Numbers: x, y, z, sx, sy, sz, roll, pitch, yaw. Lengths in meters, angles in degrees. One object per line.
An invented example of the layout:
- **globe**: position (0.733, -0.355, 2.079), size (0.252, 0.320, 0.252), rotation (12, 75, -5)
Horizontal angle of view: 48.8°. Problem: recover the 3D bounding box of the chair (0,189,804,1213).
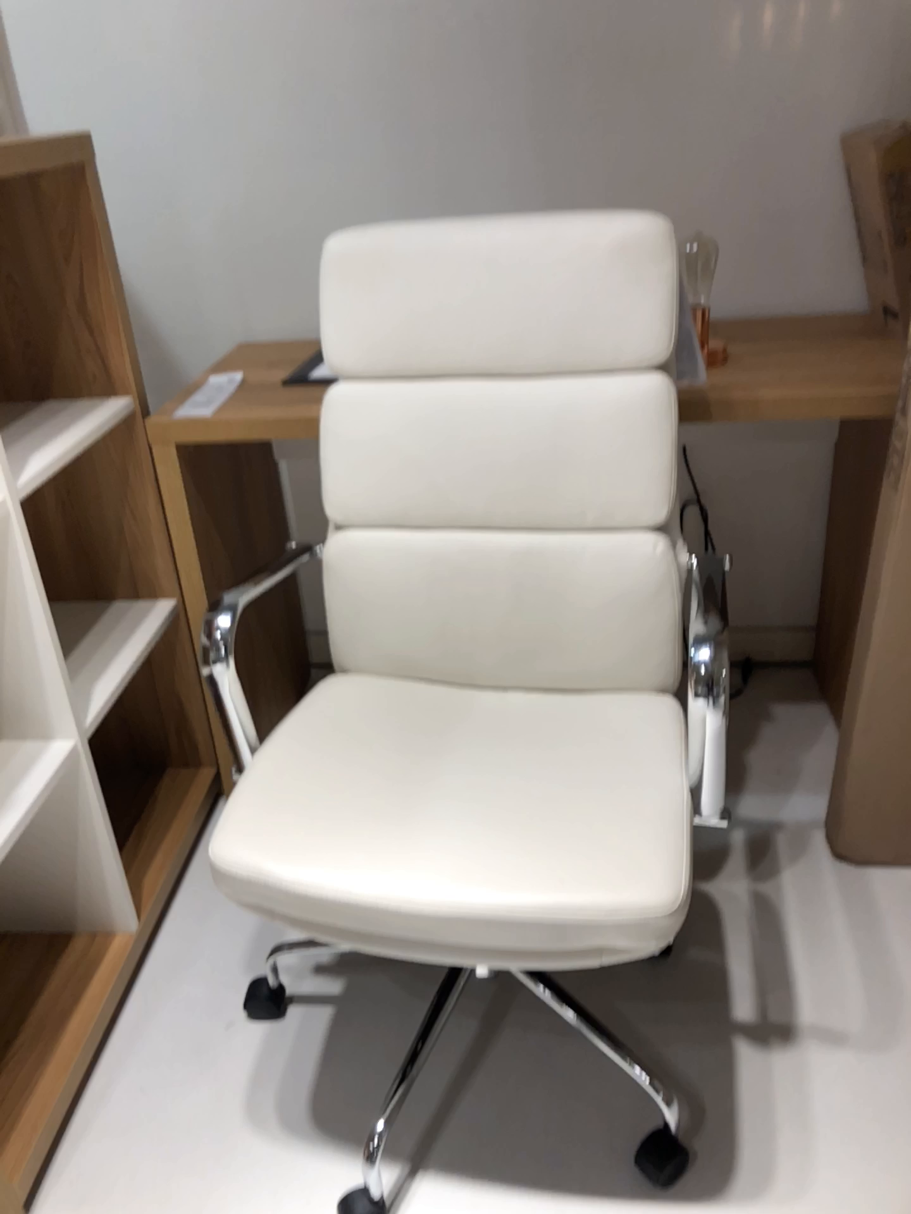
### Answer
- **chair**: position (-0.015, 0.114, 1.199), size (0.640, 1.033, 0.685), rotation (0, 27, 9)
